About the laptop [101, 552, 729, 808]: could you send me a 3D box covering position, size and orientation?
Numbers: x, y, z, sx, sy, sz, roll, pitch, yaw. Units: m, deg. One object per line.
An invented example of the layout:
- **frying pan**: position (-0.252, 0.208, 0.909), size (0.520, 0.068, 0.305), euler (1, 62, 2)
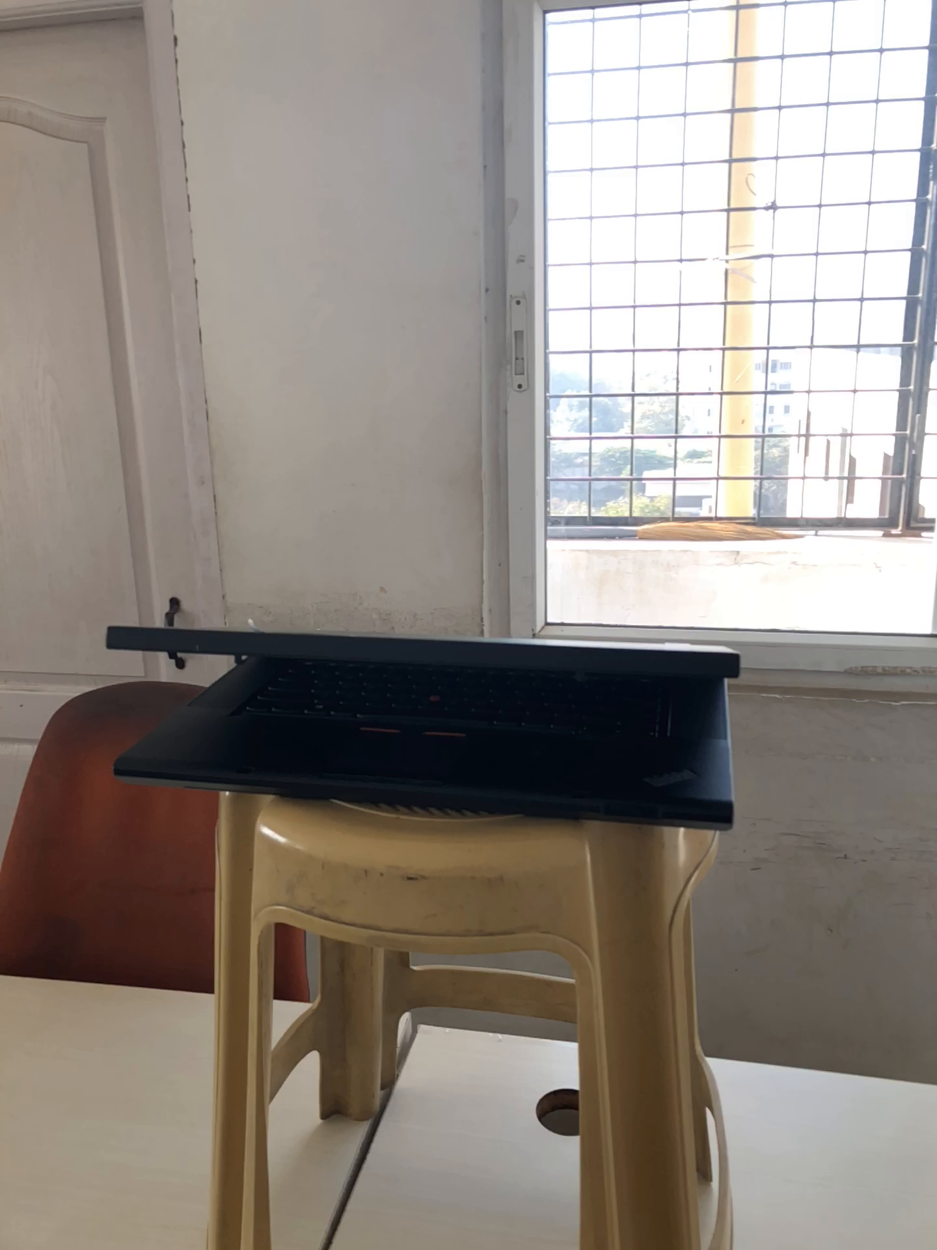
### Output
- **laptop**: position (-0.013, 0.020, 0.689), size (0.362, 0.074, 0.235), euler (2, 18, 12)
